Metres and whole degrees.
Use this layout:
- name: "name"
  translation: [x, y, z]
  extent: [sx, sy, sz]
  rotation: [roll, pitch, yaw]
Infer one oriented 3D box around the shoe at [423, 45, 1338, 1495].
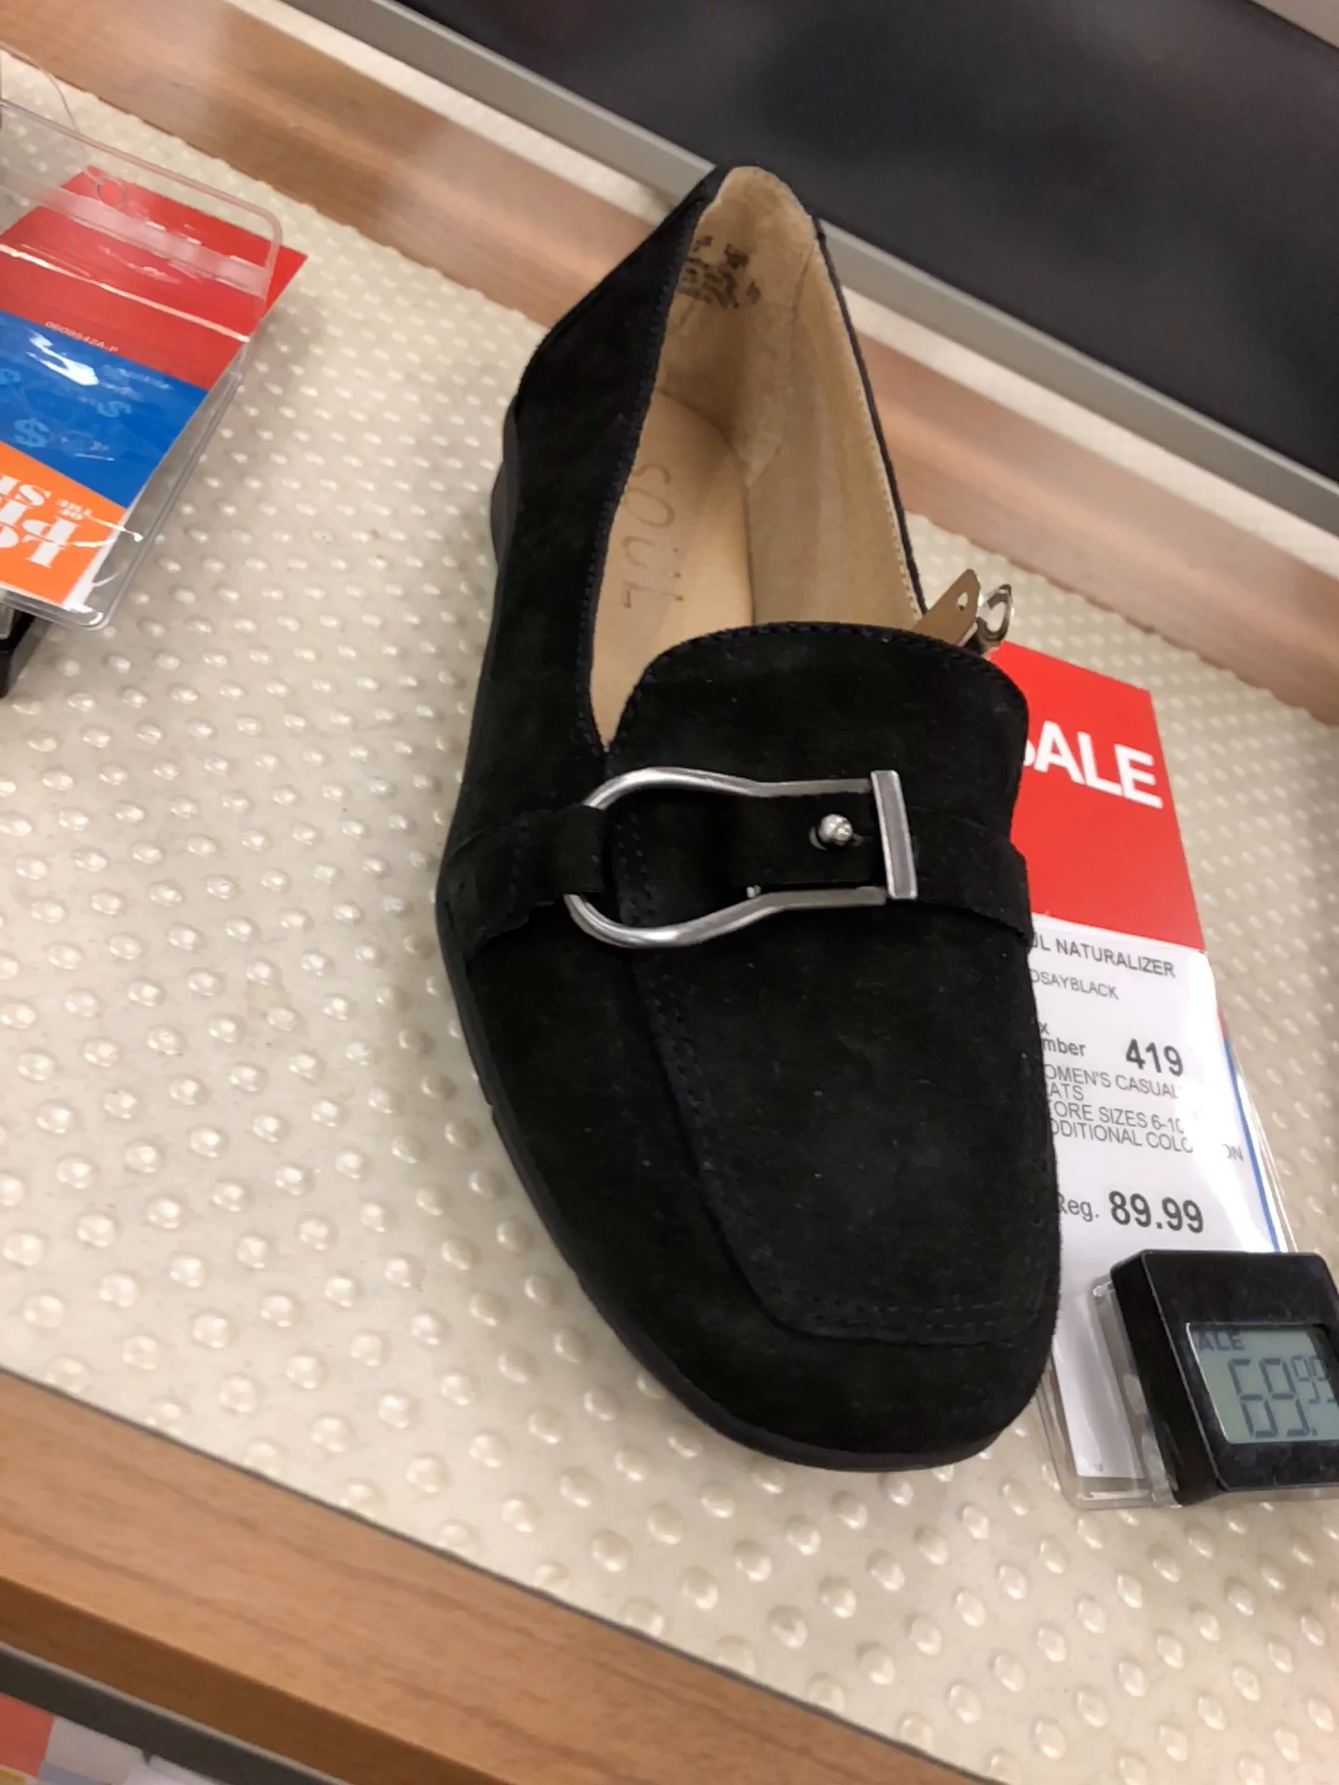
- name: "shoe"
  translation: [0.013, -0.038, 0.242]
  extent: [0.080, 0.079, 0.238]
  rotation: [10, 44, -21]
